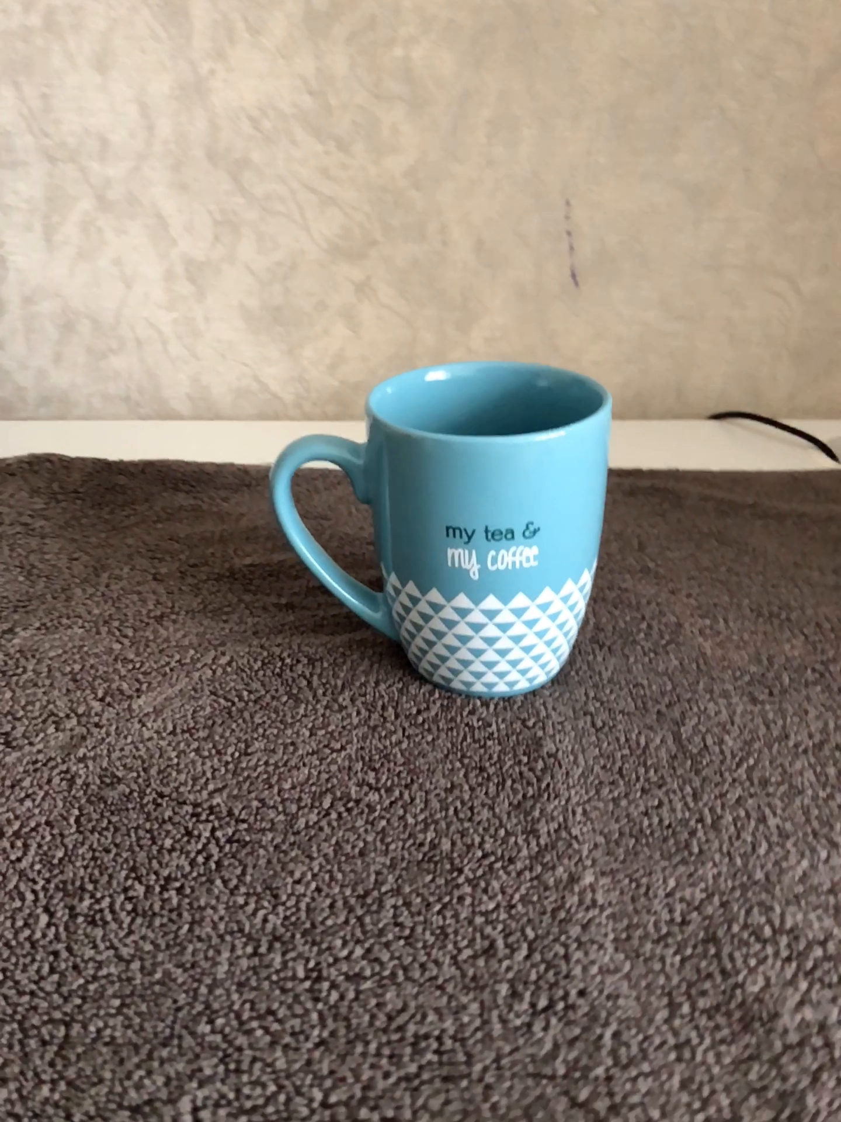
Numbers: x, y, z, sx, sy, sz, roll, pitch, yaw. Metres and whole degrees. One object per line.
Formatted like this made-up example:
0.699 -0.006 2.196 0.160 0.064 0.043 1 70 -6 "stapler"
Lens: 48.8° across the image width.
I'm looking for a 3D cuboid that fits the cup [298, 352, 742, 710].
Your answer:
0.027 -0.014 0.319 0.126 0.090 0.087 -2 27 -3 "cup"
